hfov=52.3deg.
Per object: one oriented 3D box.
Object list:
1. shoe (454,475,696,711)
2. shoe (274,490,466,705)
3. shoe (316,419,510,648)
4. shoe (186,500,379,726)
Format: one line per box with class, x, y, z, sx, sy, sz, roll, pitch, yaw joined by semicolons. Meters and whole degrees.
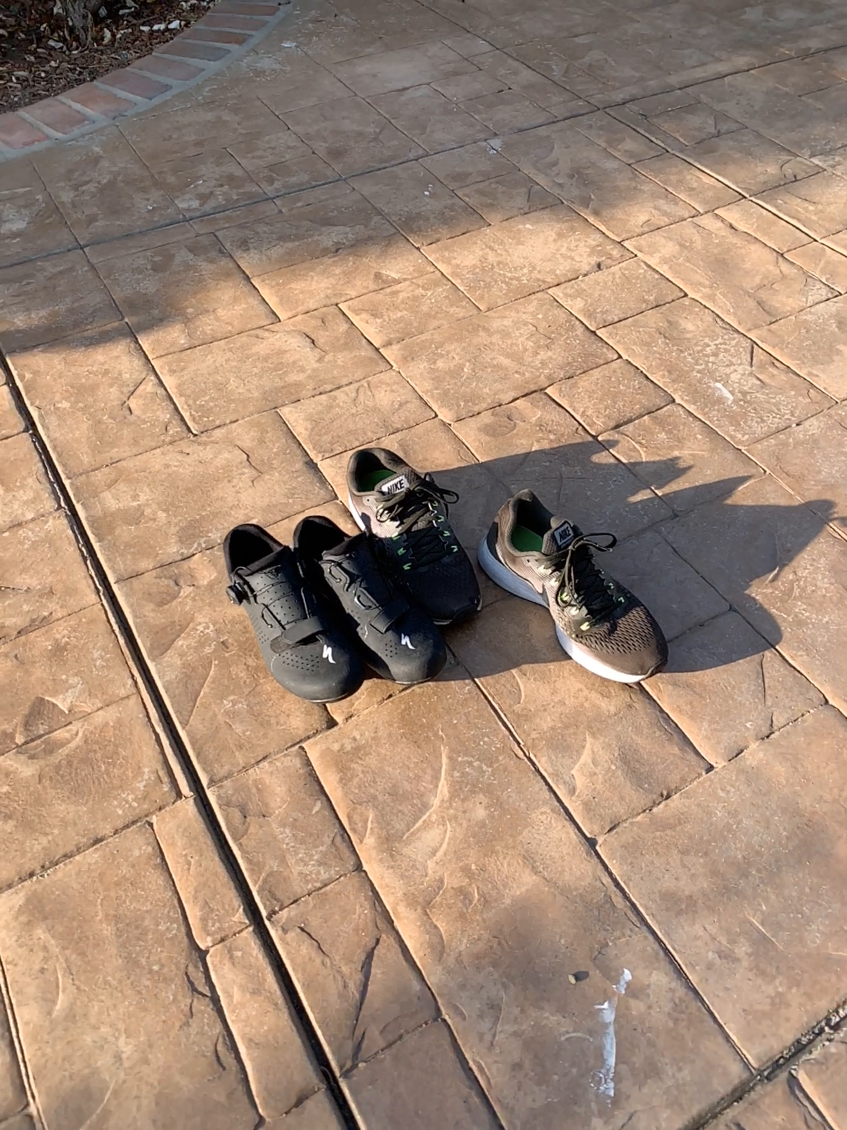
shoe;0.169;0.024;1.034;0.120;0.070;0.291;-28;53;-20
shoe;-0.062;0.029;0.949;0.100;0.070;0.231;-28;53;-20
shoe;-0.019;-0.047;1.035;0.100;0.090;0.281;-24;52;-18
shoe;-0.164;0.046;0.983;0.100;0.070;0.261;-28;53;-20
